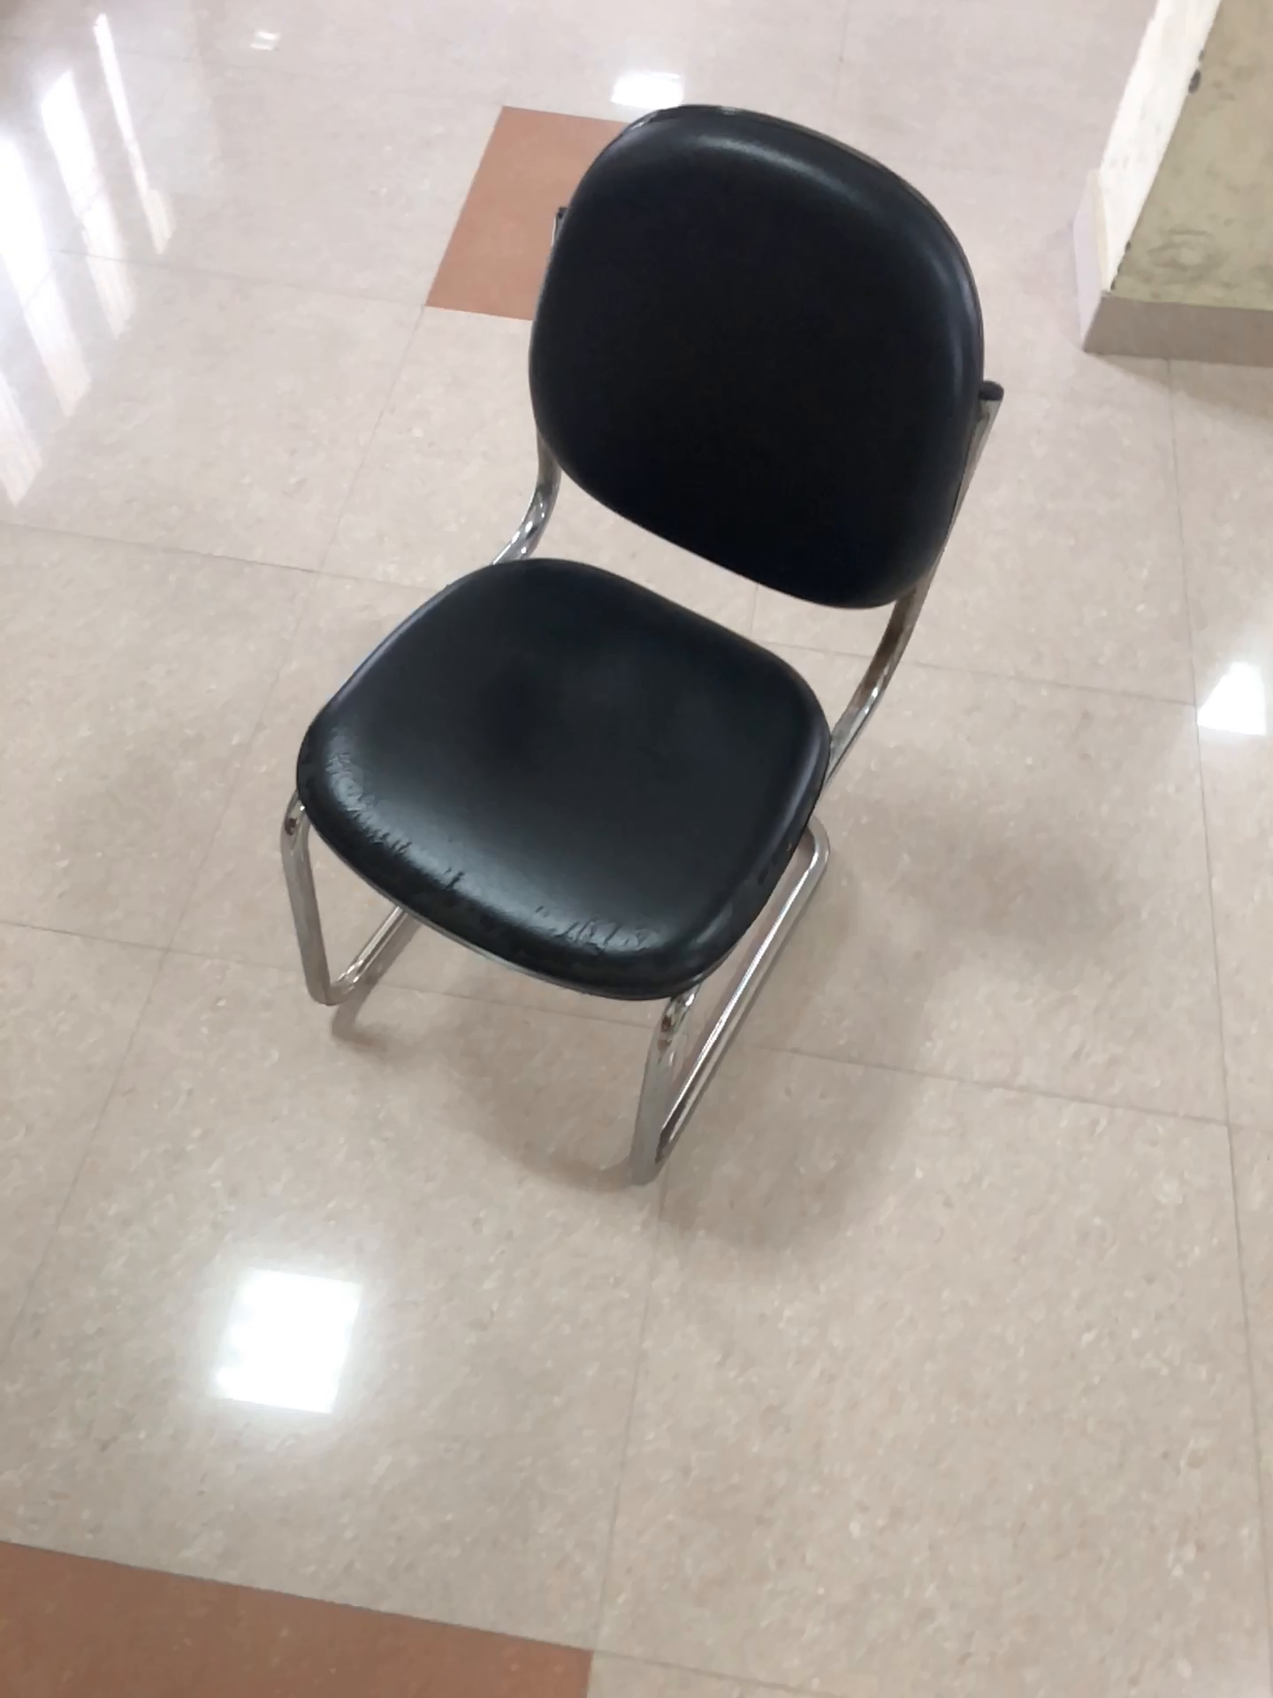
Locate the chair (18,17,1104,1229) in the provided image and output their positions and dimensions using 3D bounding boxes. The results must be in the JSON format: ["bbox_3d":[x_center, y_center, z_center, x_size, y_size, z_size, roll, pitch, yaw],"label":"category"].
[{"bbox_3d":[-0.032,-0.155,1.257,0.500,0.758,0.591,26,59,13],"label":"chair"}]
